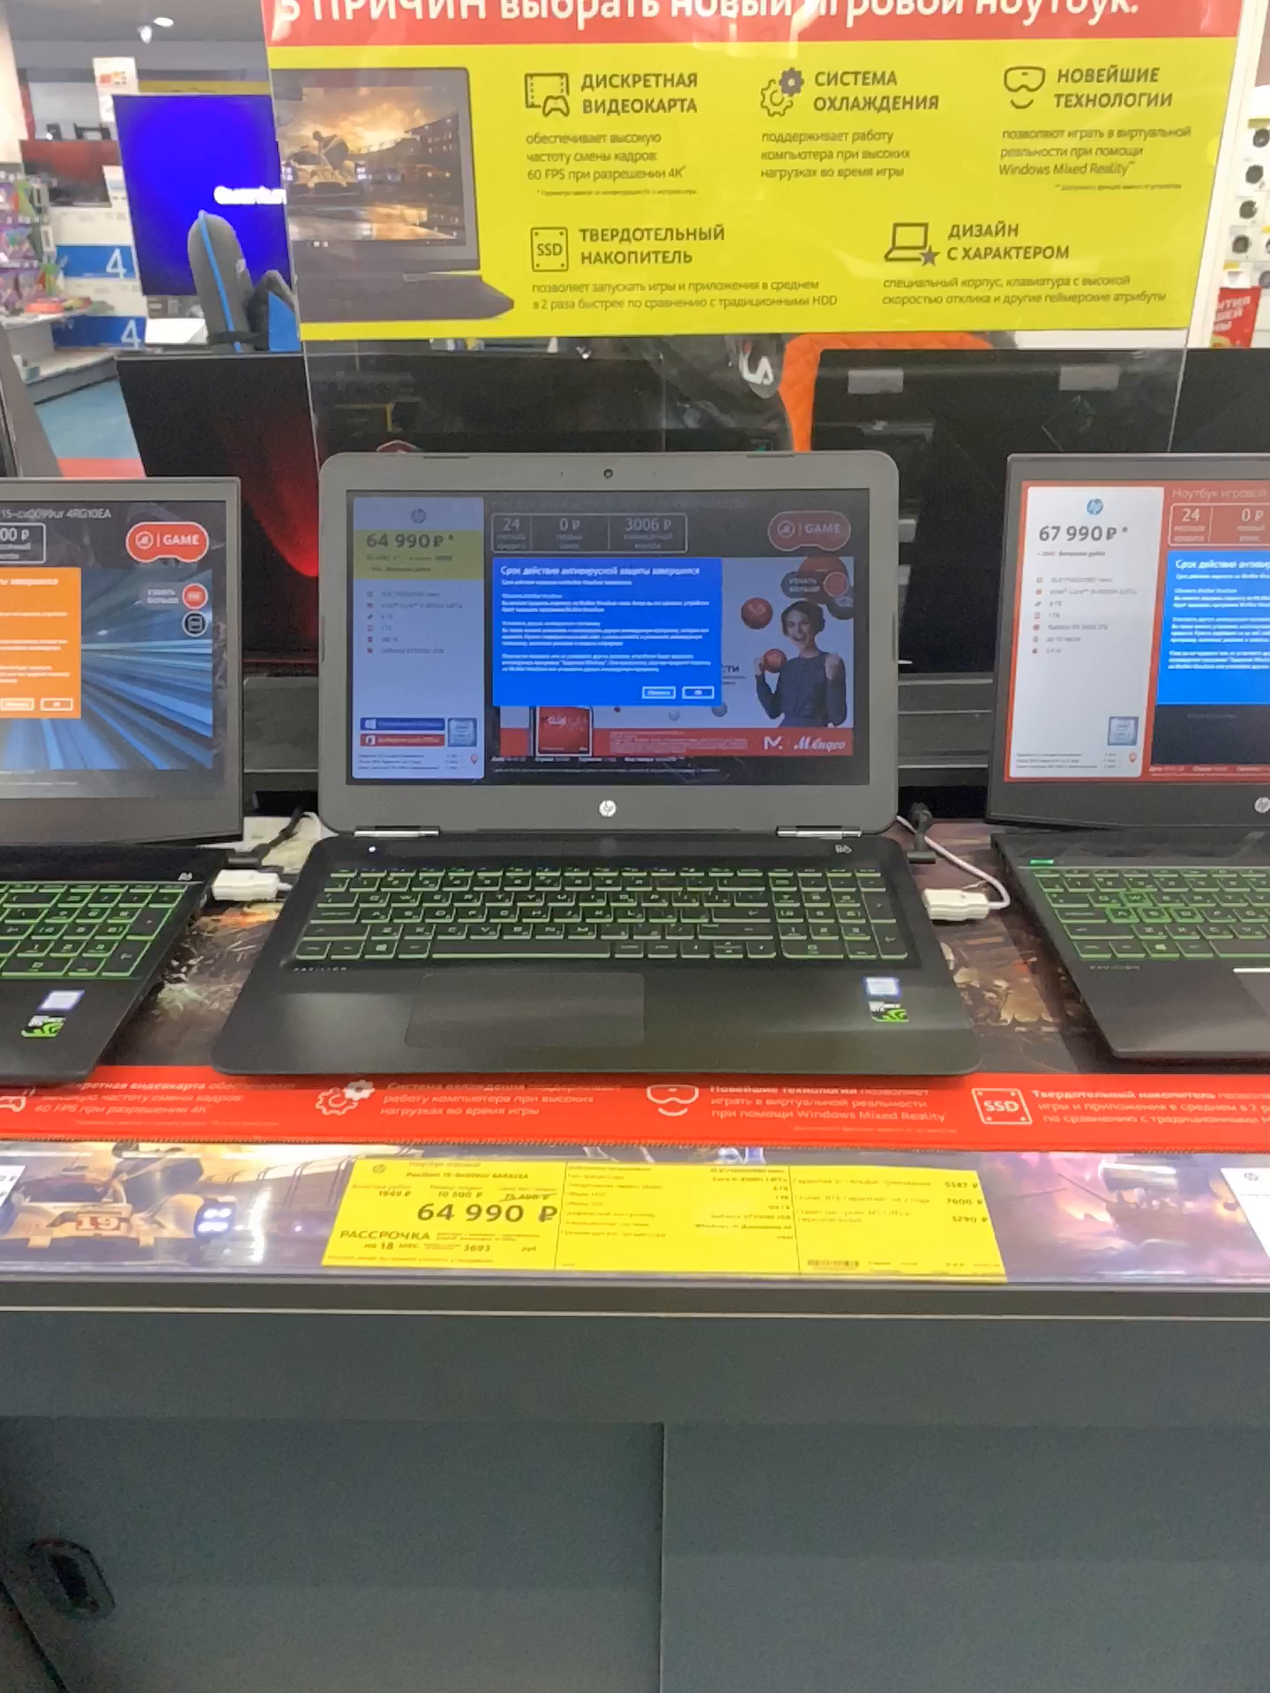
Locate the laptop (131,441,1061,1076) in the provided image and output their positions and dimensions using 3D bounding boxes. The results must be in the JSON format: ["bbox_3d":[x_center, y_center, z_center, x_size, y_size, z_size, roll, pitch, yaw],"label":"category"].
[{"bbox_3d":[-0.018,-0.081,0.752,0.384,0.223,0.381,0,27,0],"label":"laptop"}]
